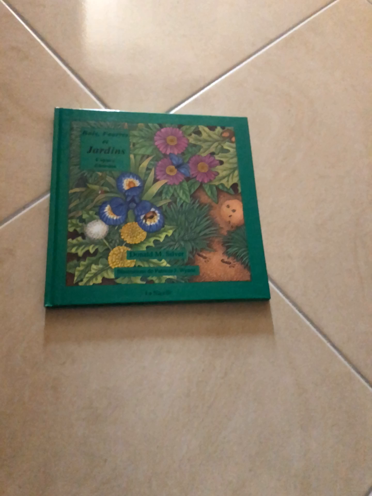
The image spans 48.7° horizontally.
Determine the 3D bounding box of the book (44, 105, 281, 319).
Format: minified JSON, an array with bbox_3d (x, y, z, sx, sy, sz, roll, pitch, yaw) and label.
[{"bbox_3d":[-0.027,-0.046,0.467,0.240,0.030,0.240,0,71,-10],"label":"book"}]
